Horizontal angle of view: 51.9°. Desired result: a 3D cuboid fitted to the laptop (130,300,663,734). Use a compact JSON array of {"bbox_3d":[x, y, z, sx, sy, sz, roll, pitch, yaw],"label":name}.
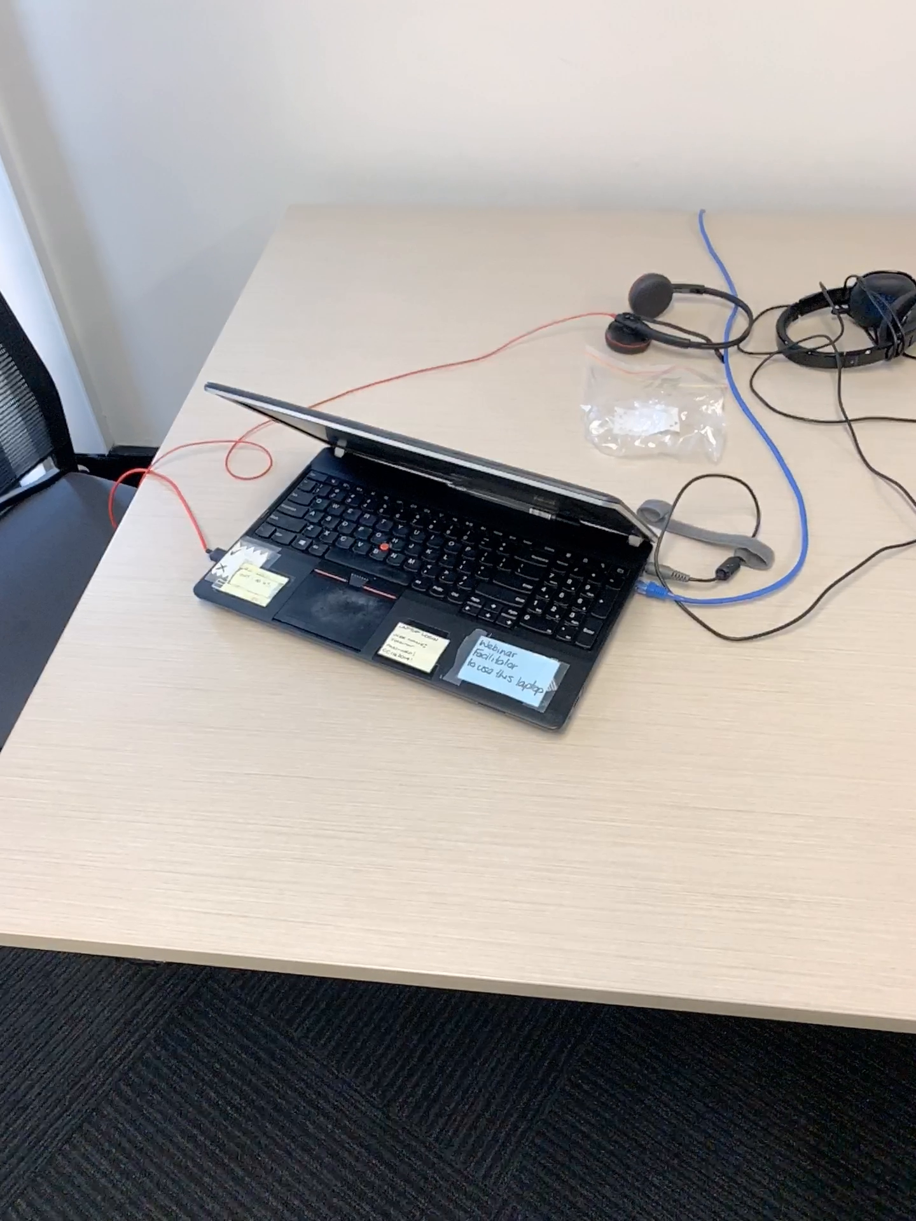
[{"bbox_3d":[-0.036,-0.091,0.728,0.326,0.157,0.227,18,47,20],"label":"laptop"}]
